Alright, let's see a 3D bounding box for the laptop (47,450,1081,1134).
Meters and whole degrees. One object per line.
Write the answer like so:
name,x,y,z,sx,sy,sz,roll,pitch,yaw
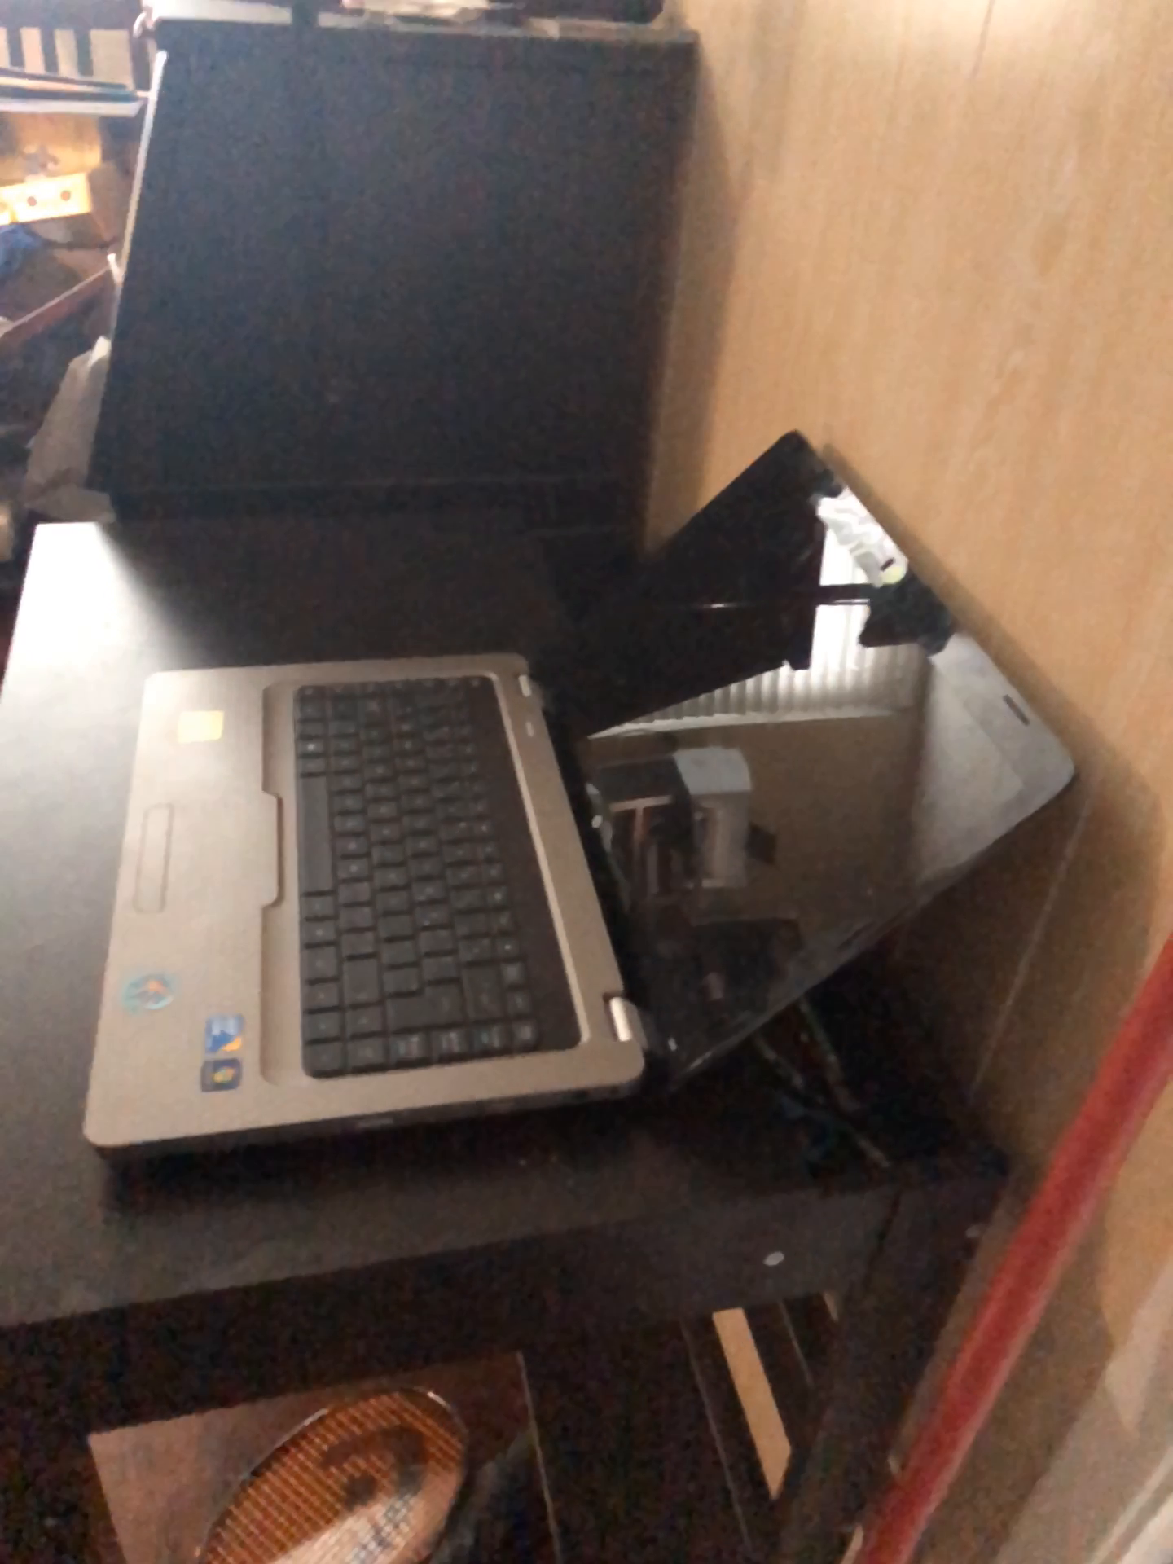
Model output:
laptop,-0.035,-0.030,0.673,0.401,0.166,0.358,-3,36,-12
